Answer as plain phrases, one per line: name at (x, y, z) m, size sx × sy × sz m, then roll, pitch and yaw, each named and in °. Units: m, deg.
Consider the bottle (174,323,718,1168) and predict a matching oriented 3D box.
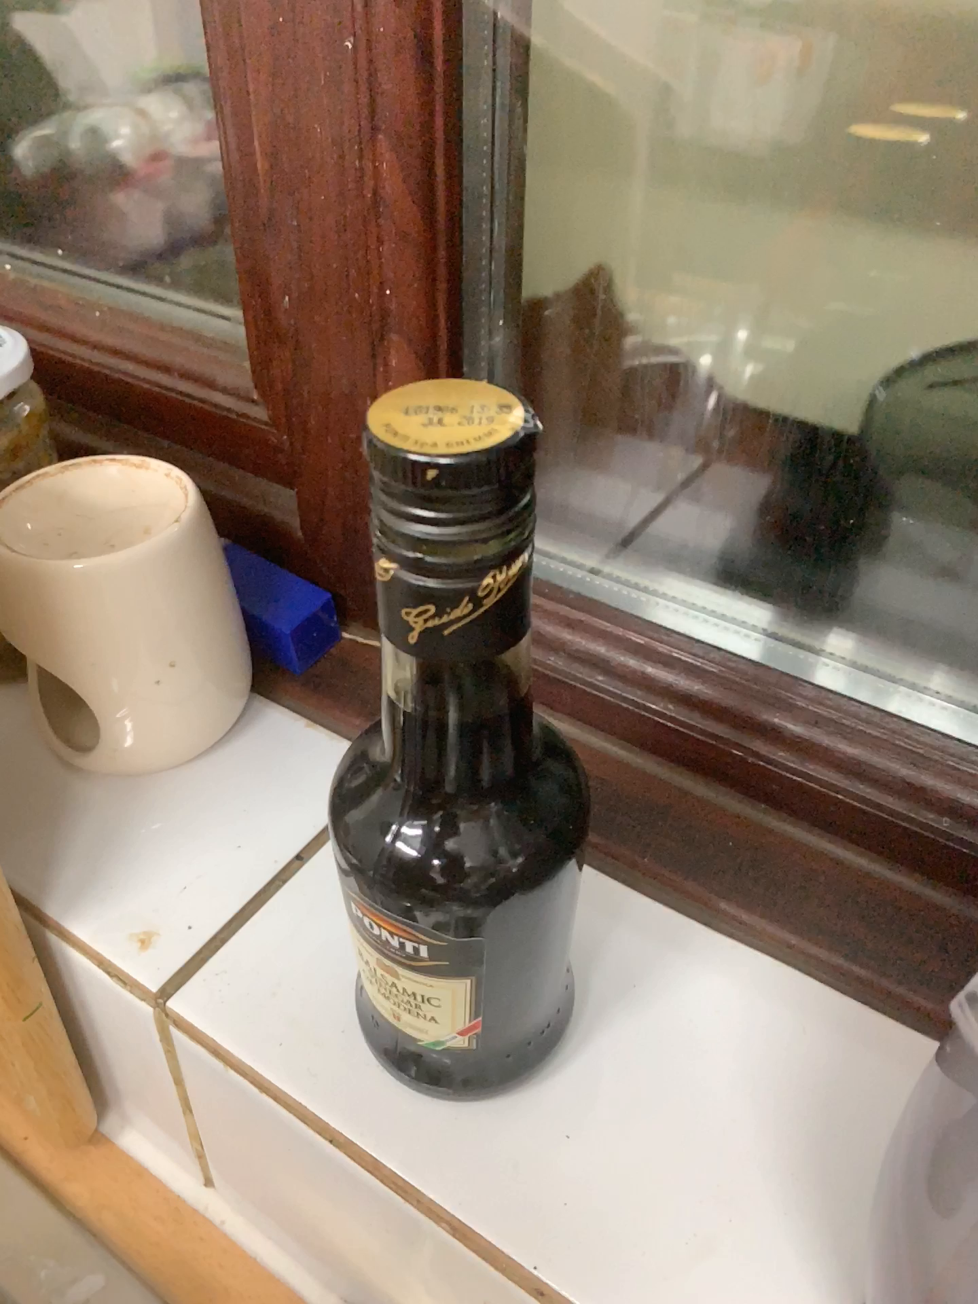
bottle at (-0.007, 0.029, 0.237) m, size 0.070 × 0.178 × 0.070 m, roll 1°, pitch 38°, yaw 0°
